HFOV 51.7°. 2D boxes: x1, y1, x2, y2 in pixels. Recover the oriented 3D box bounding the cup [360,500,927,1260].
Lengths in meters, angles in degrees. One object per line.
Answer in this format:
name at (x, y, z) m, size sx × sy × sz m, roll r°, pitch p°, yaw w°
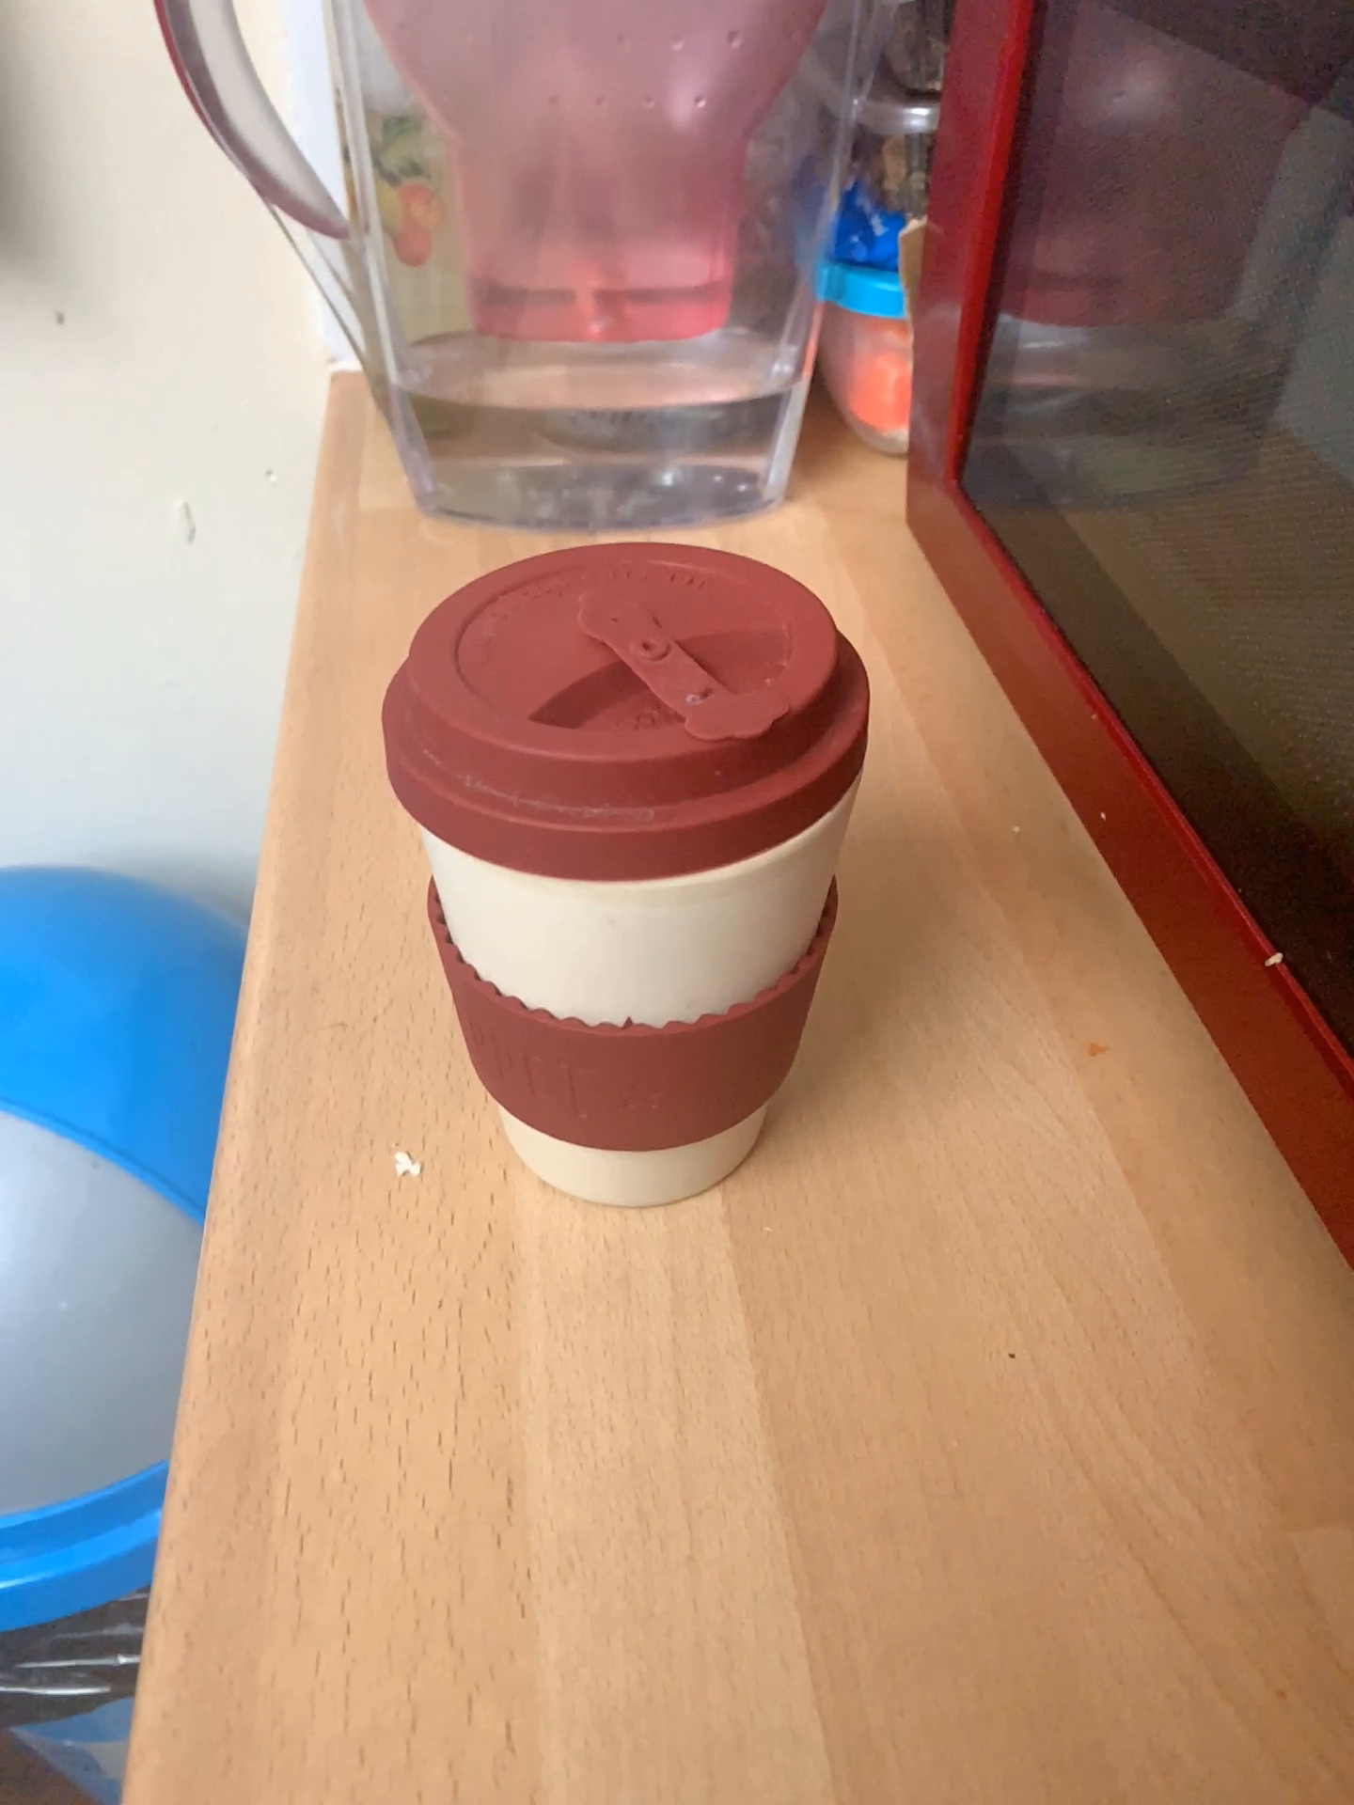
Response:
cup at (-0.011, -0.005, 0.283) m, size 0.086 × 0.115 × 0.088 m, roll 0°, pitch 41°, yaw 0°
